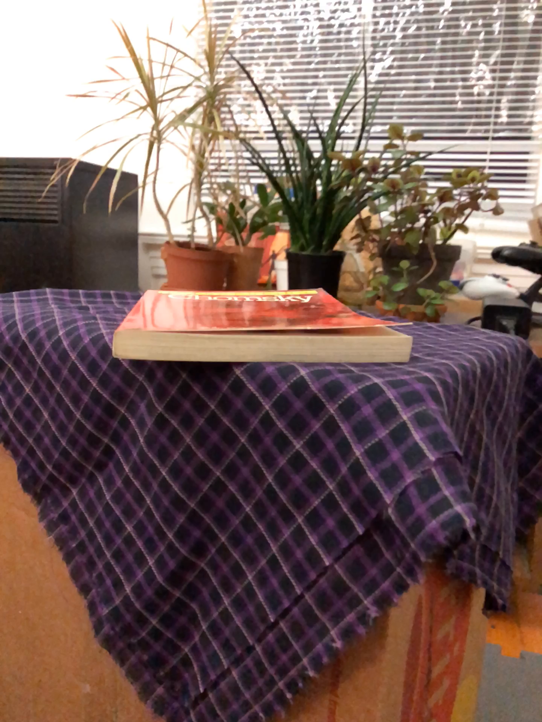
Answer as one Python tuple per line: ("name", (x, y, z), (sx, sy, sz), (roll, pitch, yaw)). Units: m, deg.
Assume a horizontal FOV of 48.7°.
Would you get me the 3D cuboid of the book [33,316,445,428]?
("book", (-0.027, -0.003, 0.379), (0.180, 0.020, 0.241), (1, 10, -9))
